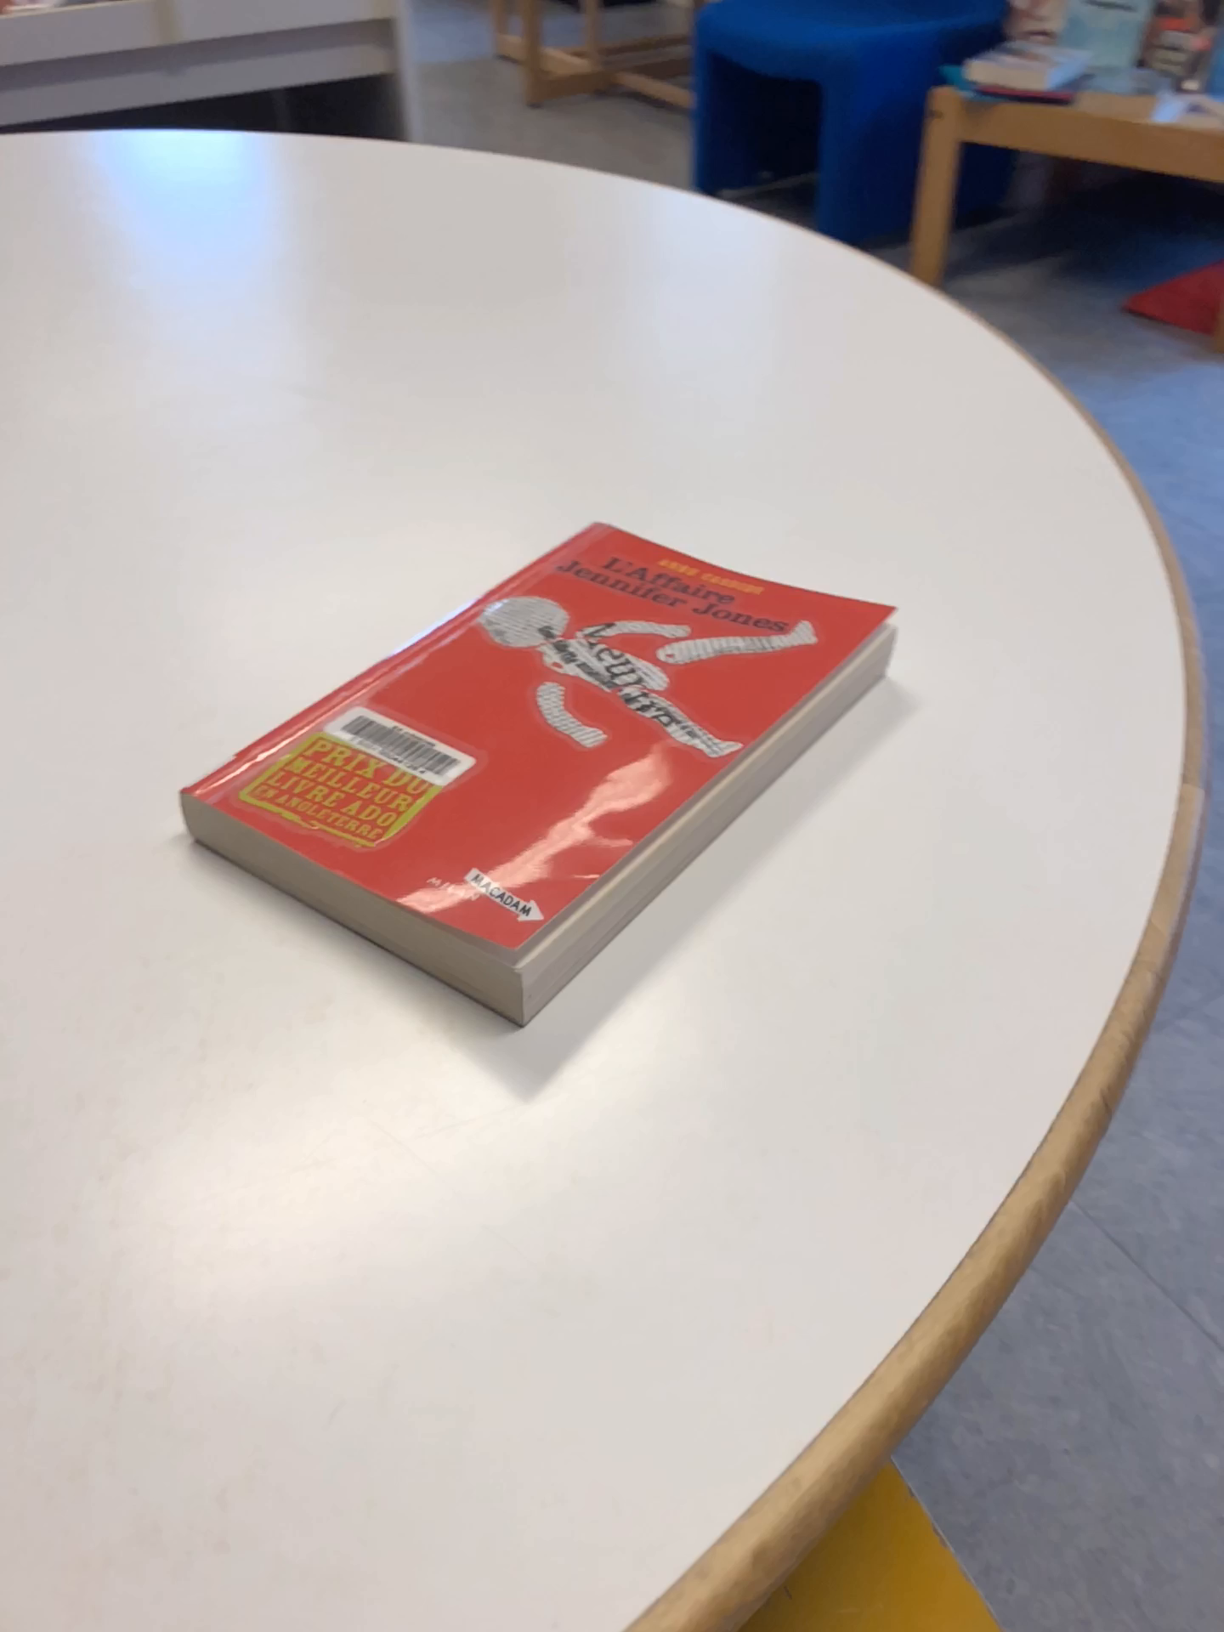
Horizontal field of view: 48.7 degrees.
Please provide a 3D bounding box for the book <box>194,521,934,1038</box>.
[{"bbox_3d":[-0.006,-0.029,0.432,0.136,0.027,0.204,22,44,30],"label":"book"}]
